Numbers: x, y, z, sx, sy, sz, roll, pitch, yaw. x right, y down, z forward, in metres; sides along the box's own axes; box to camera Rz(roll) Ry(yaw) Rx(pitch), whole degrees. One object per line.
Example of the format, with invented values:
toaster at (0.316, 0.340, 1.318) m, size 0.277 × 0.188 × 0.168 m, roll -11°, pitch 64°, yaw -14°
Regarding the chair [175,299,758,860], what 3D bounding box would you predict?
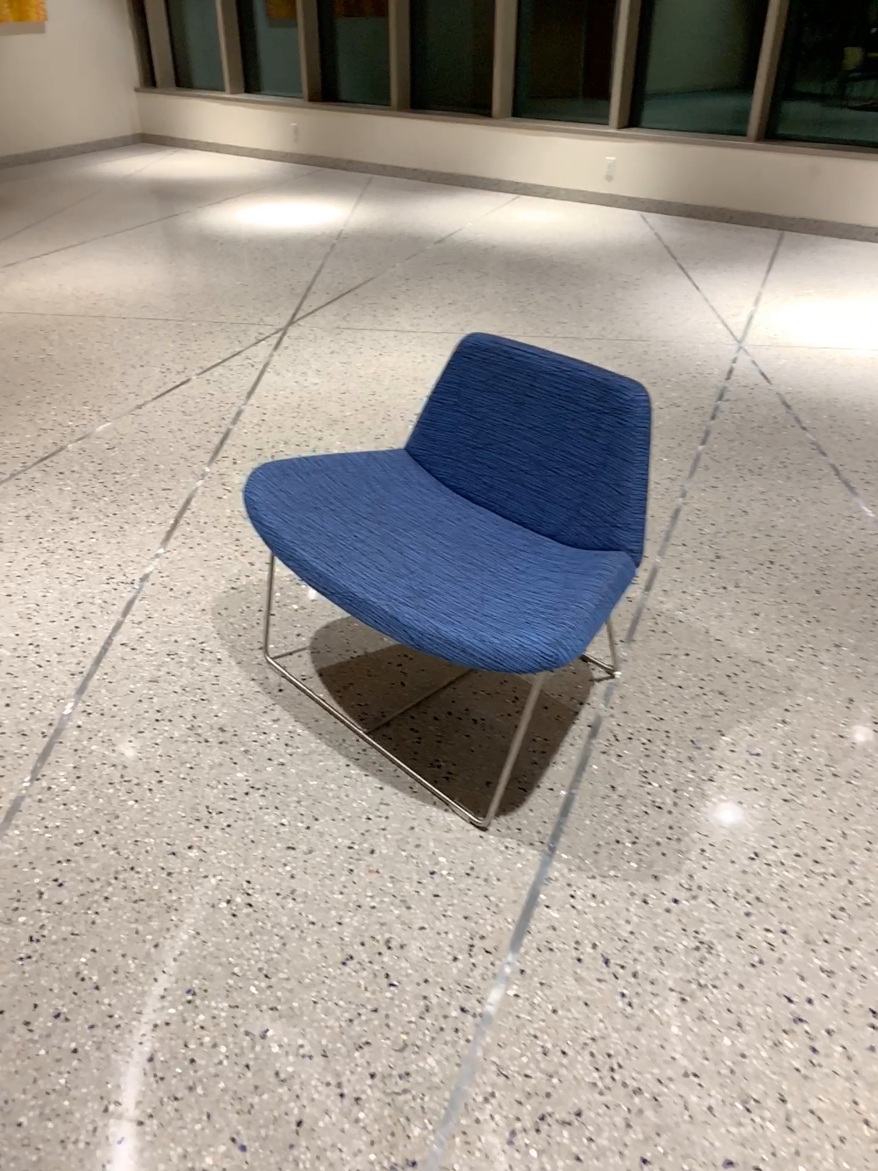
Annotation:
chair at (0.020, -0.106, 1.927) m, size 0.664 × 0.698 × 0.946 m, roll -27°, pitch 41°, yaw -36°
